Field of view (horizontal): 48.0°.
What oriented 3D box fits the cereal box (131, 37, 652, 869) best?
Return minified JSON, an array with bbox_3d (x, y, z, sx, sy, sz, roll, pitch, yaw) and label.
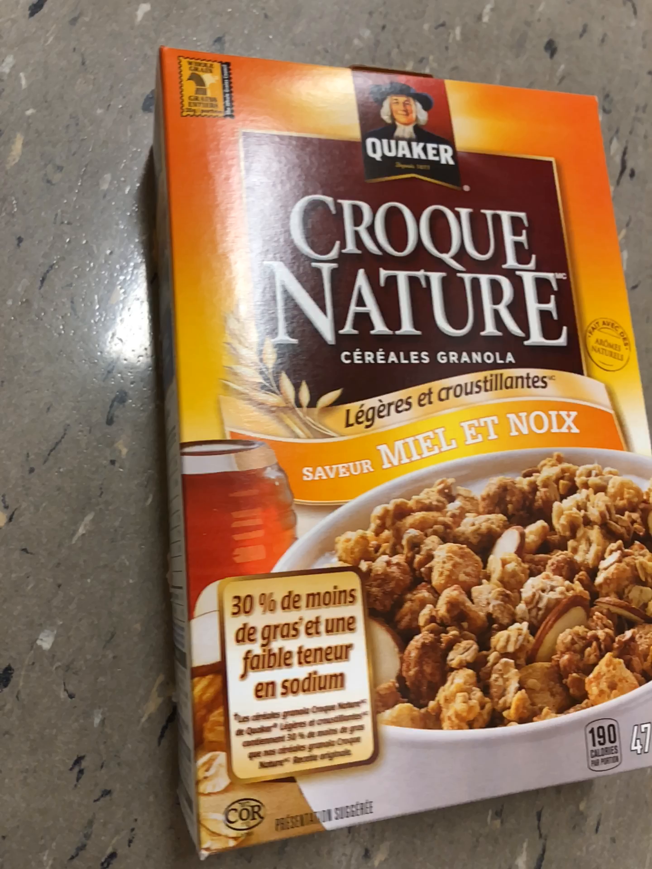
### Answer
[{"bbox_3d":[0.022,-0.002,0.252,0.160,0.050,0.240,-2,81,-17],"label":"cereal box"}]
